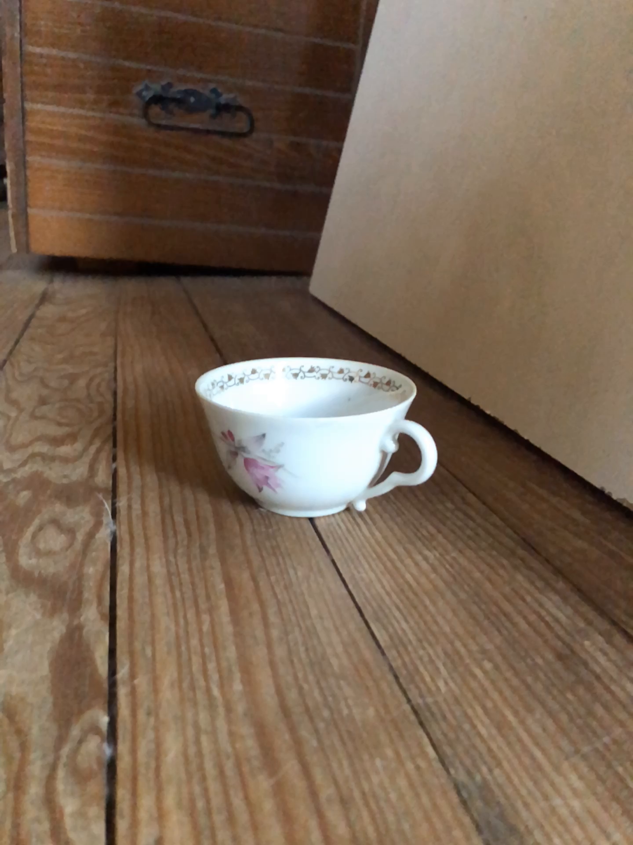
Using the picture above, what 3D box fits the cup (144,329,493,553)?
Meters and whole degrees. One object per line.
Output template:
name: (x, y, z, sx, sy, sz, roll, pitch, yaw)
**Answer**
cup: (0.000, -0.001, 0.264, 0.100, 0.040, 0.080, 17, 25, 37)
